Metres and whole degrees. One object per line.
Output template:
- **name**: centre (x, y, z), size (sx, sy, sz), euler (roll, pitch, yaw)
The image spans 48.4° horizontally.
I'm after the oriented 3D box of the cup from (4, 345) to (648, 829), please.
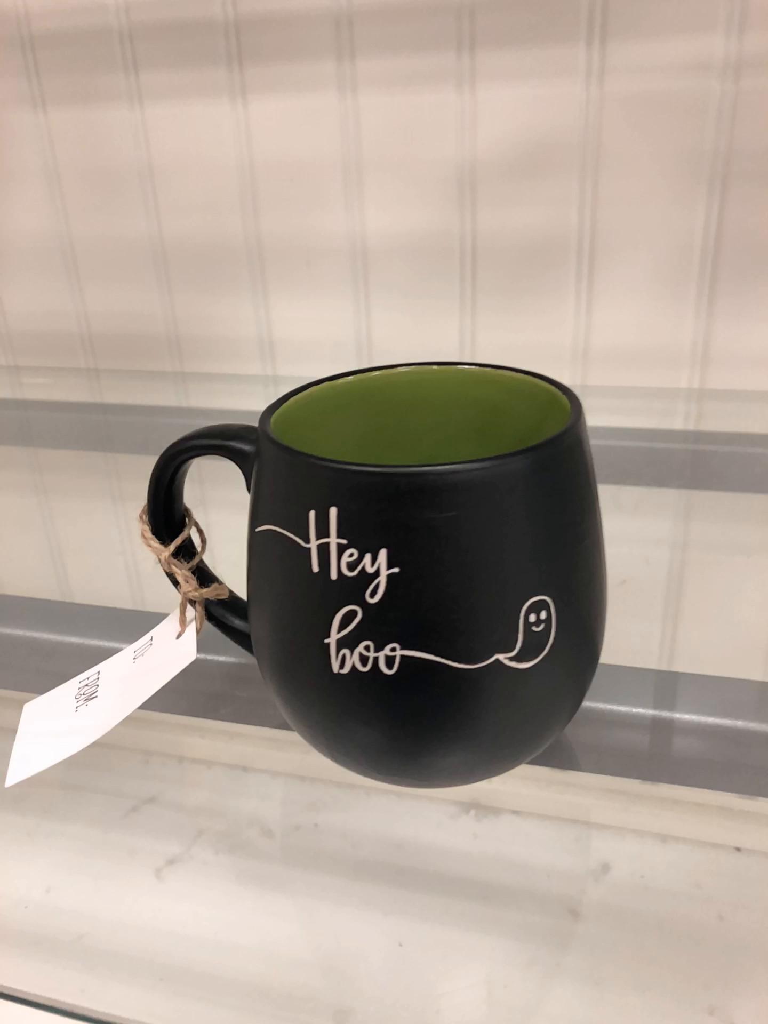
- **cup**: centre (-0.006, 0.010, 0.245), size (0.149, 0.089, 0.091), euler (5, 26, 15)
